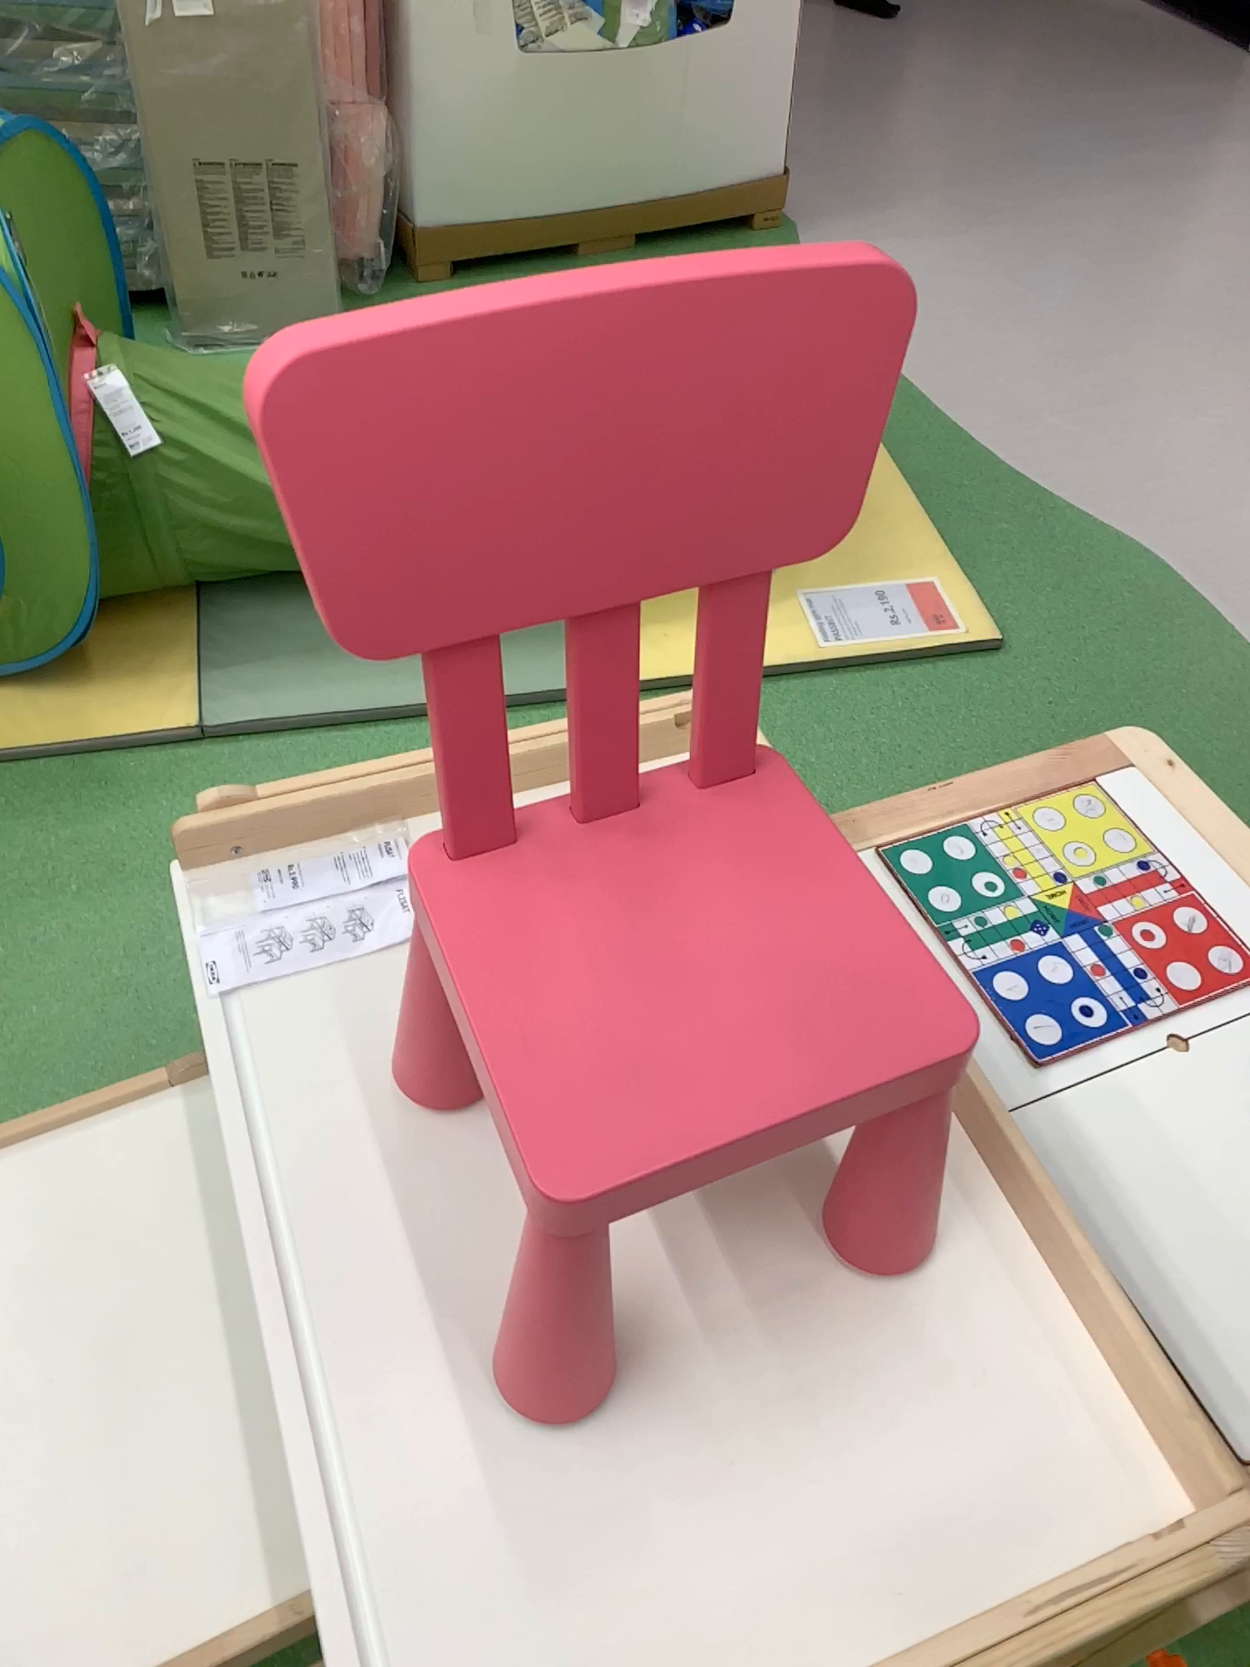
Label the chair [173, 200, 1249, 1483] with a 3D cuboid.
[{"bbox_3d":[0.036,0.025,0.778,0.420,0.598,0.401,-16,51,-17],"label":"chair"}]
